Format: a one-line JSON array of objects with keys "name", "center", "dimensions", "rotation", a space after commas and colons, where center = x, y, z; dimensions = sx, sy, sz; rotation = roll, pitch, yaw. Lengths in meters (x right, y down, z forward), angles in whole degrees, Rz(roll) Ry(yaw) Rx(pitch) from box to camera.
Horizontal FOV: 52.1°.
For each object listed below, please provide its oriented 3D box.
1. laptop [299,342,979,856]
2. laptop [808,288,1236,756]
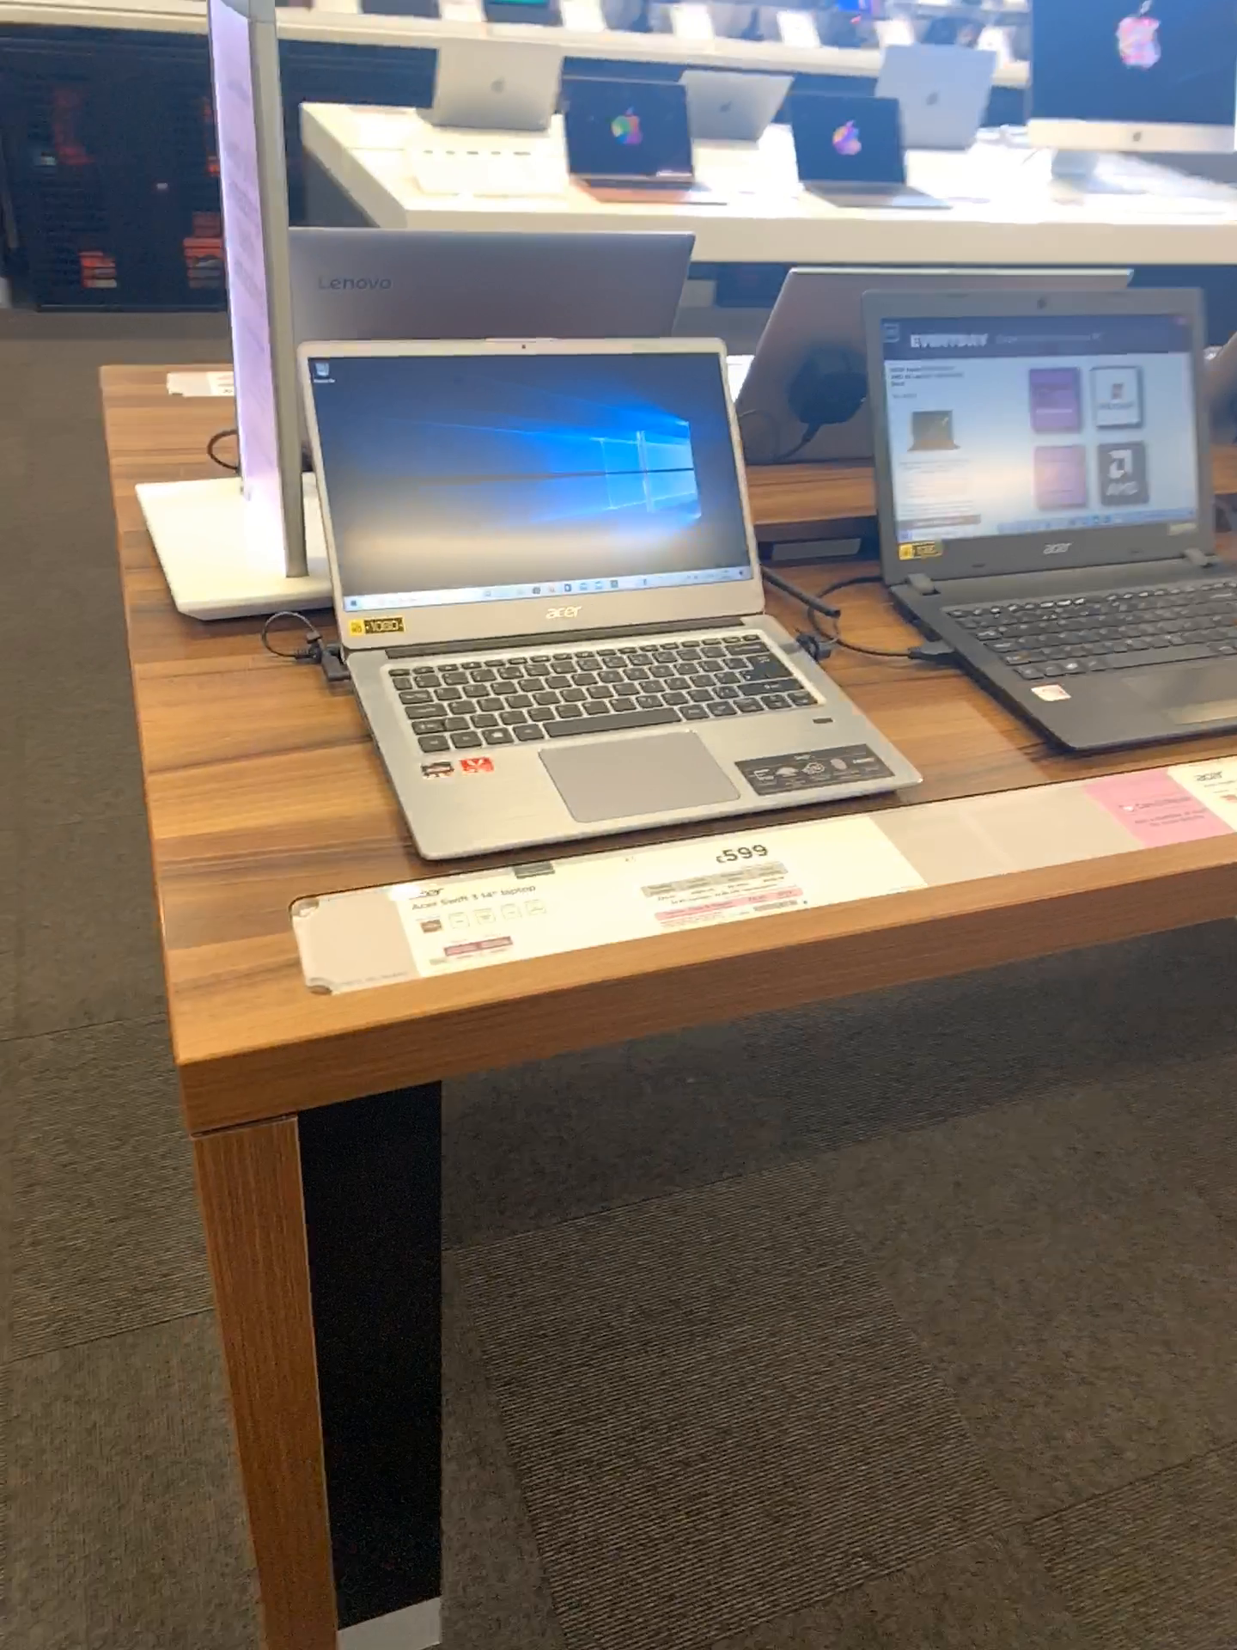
[{"name": "laptop", "center": [-0.015, -0.174, 0.814], "dimensions": [0.307, 0.153, 0.361], "rotation": [-9, 39, -20]}, {"name": "laptop", "center": [0.412, -0.254, 0.971], "dimensions": [0.371, 0.191, 0.358], "rotation": [-10, 40, -23]}]
